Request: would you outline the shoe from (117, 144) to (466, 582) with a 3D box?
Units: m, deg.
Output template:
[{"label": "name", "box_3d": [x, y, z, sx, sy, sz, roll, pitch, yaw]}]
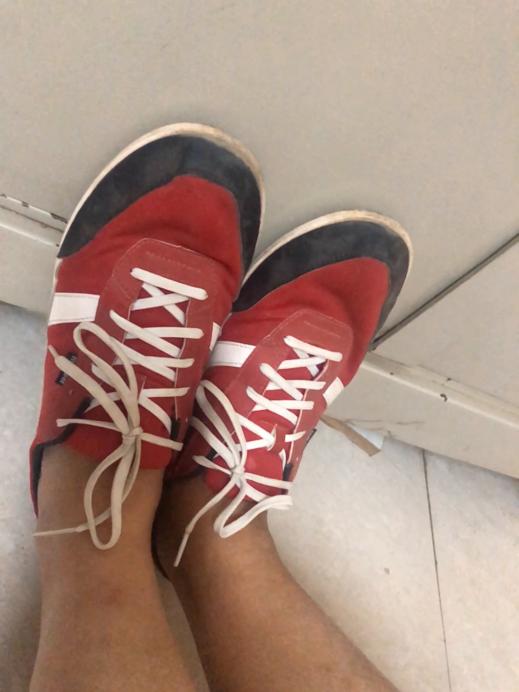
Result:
[{"label": "shoe", "box_3d": [0.005, 0.019, 0.362, 0.100, 0.249, 0.080, 19, 19, -24]}]

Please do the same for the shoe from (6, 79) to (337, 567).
[{"label": "shoe", "box_3d": [-0.060, -0.003, 0.310, 0.100, 0.229, 0.080, 7, 24, -32]}]
